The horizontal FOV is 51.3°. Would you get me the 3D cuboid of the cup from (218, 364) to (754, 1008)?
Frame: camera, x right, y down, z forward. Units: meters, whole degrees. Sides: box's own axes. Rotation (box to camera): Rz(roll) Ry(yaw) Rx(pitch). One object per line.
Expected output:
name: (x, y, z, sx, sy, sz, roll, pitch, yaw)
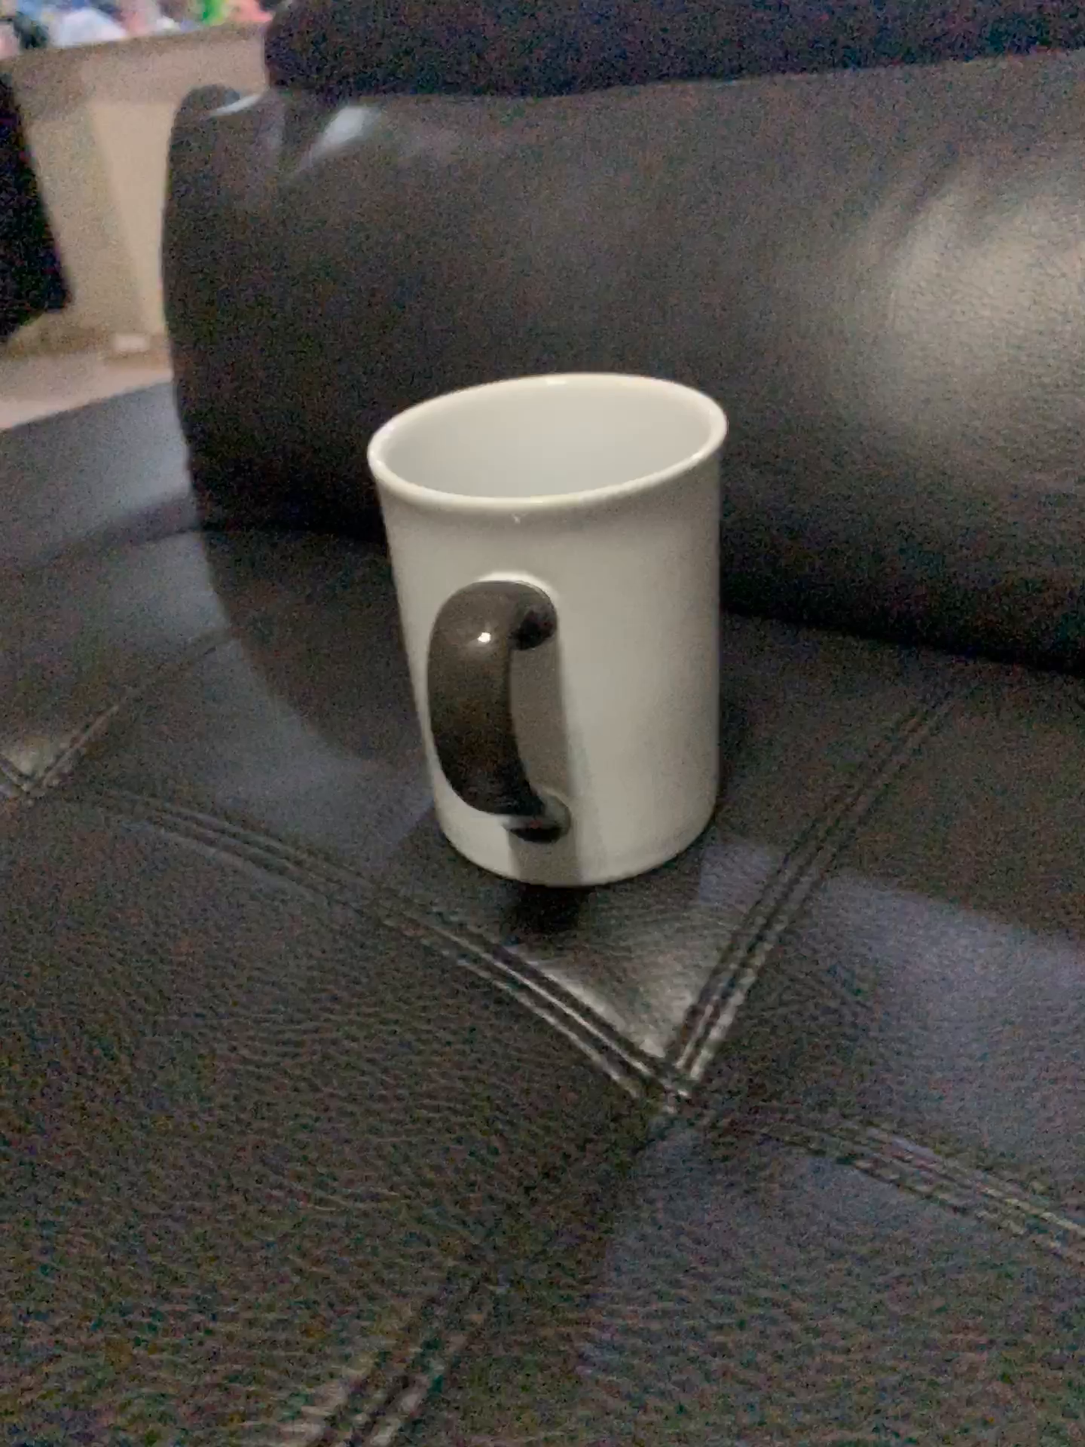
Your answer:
cup: (0.000, -0.020, 0.293, 0.092, 0.115, 0.124, 4, 30, 16)
